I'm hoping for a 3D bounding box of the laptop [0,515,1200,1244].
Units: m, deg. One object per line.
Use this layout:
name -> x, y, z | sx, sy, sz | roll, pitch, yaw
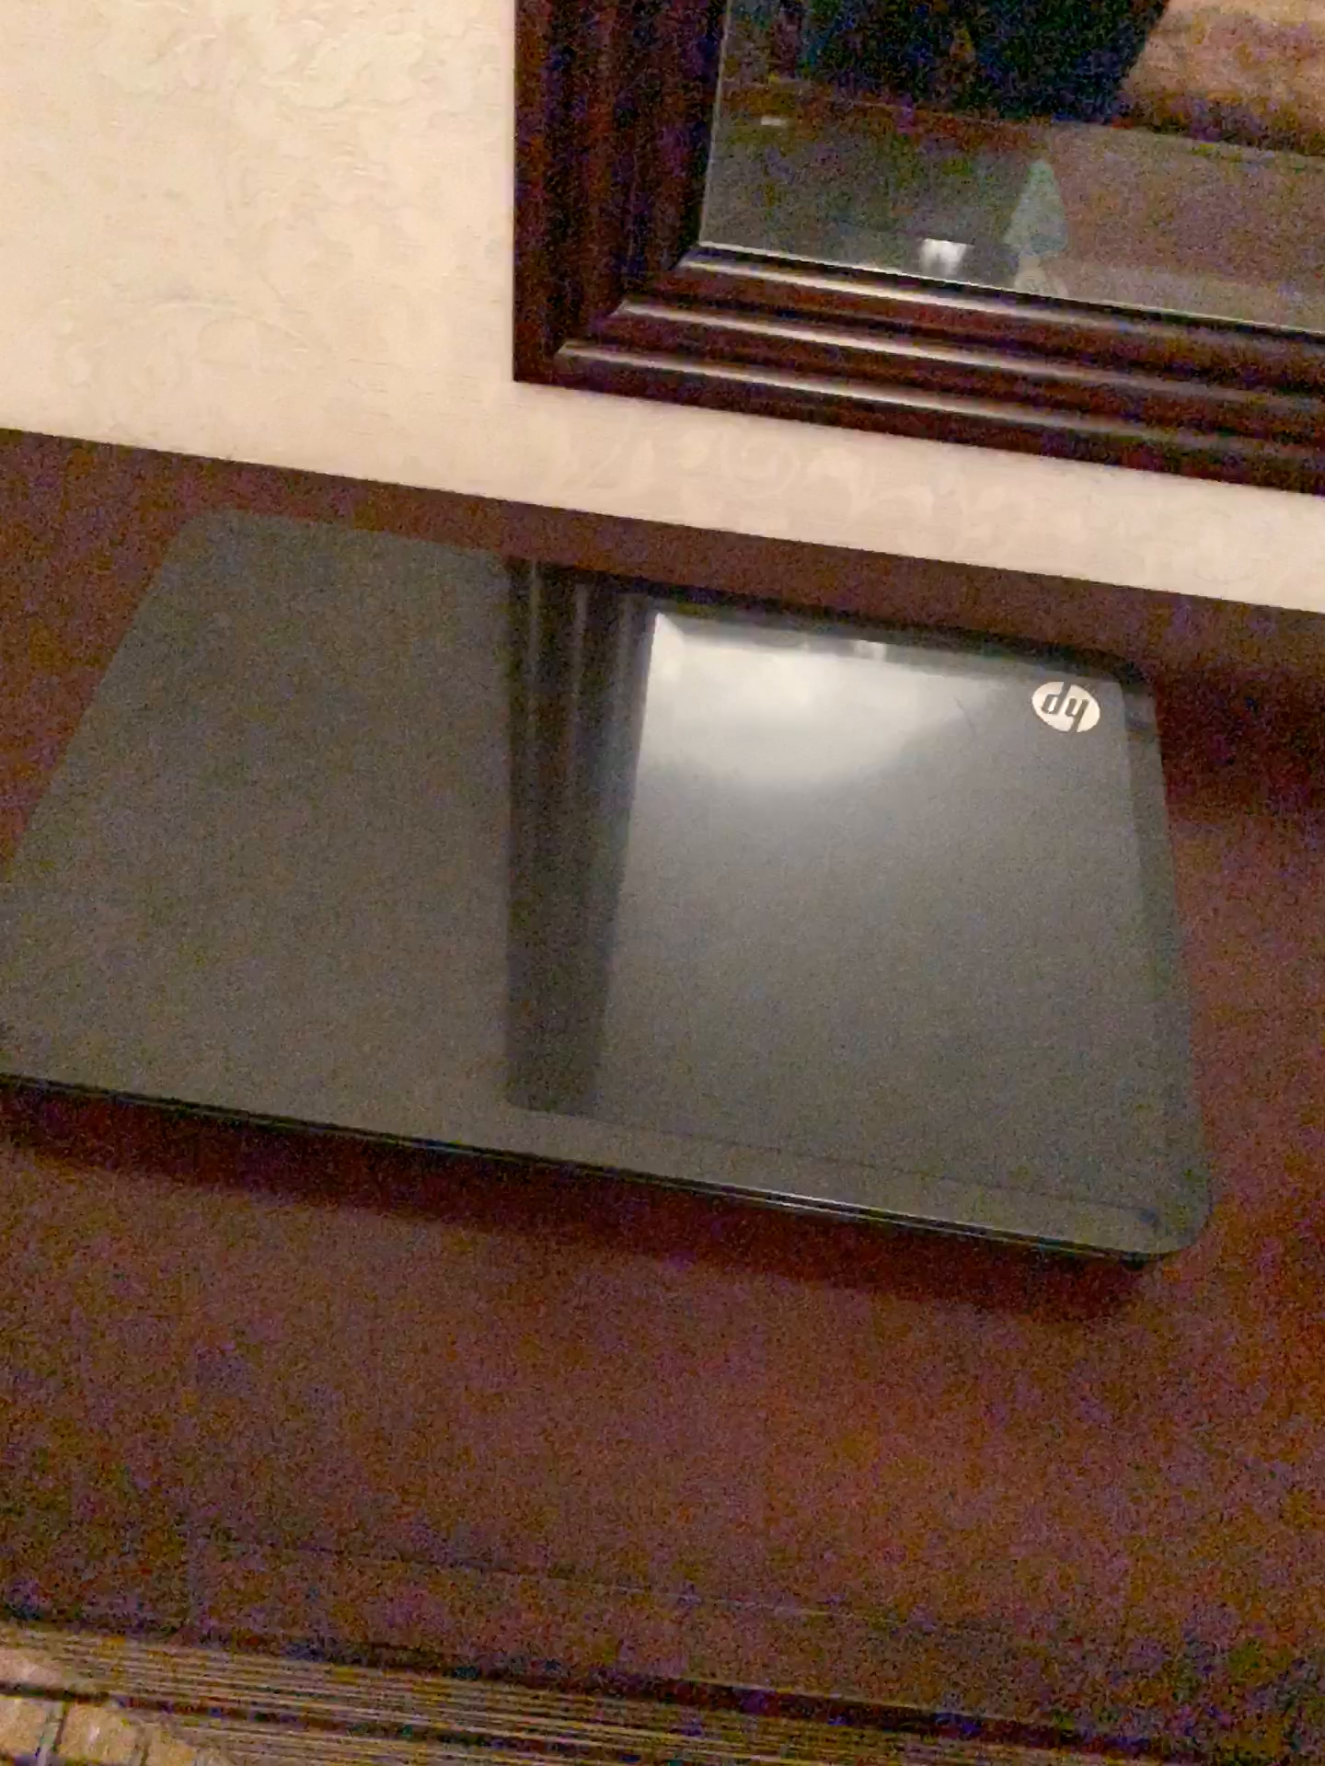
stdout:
laptop -> -0.008, -0.018, 0.437 | 0.344, 0.003, 0.223 | 9, 54, -1
